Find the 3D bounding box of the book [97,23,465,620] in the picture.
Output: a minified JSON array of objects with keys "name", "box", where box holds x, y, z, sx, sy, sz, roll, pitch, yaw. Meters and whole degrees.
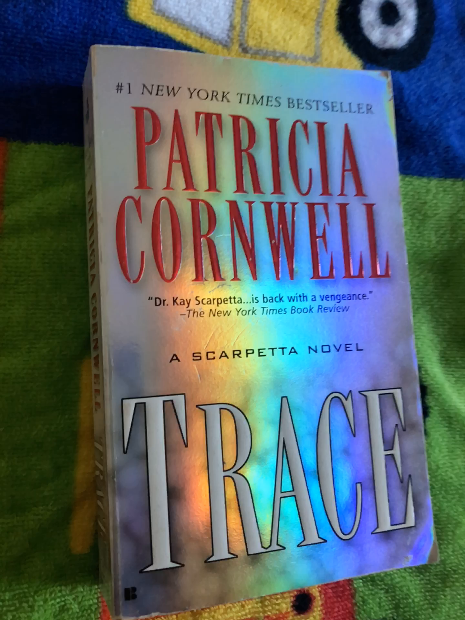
[{"name":"book","box":[0.017,0.004,0.181,0.120,0.040,0.180,-1,84,-15]}]
